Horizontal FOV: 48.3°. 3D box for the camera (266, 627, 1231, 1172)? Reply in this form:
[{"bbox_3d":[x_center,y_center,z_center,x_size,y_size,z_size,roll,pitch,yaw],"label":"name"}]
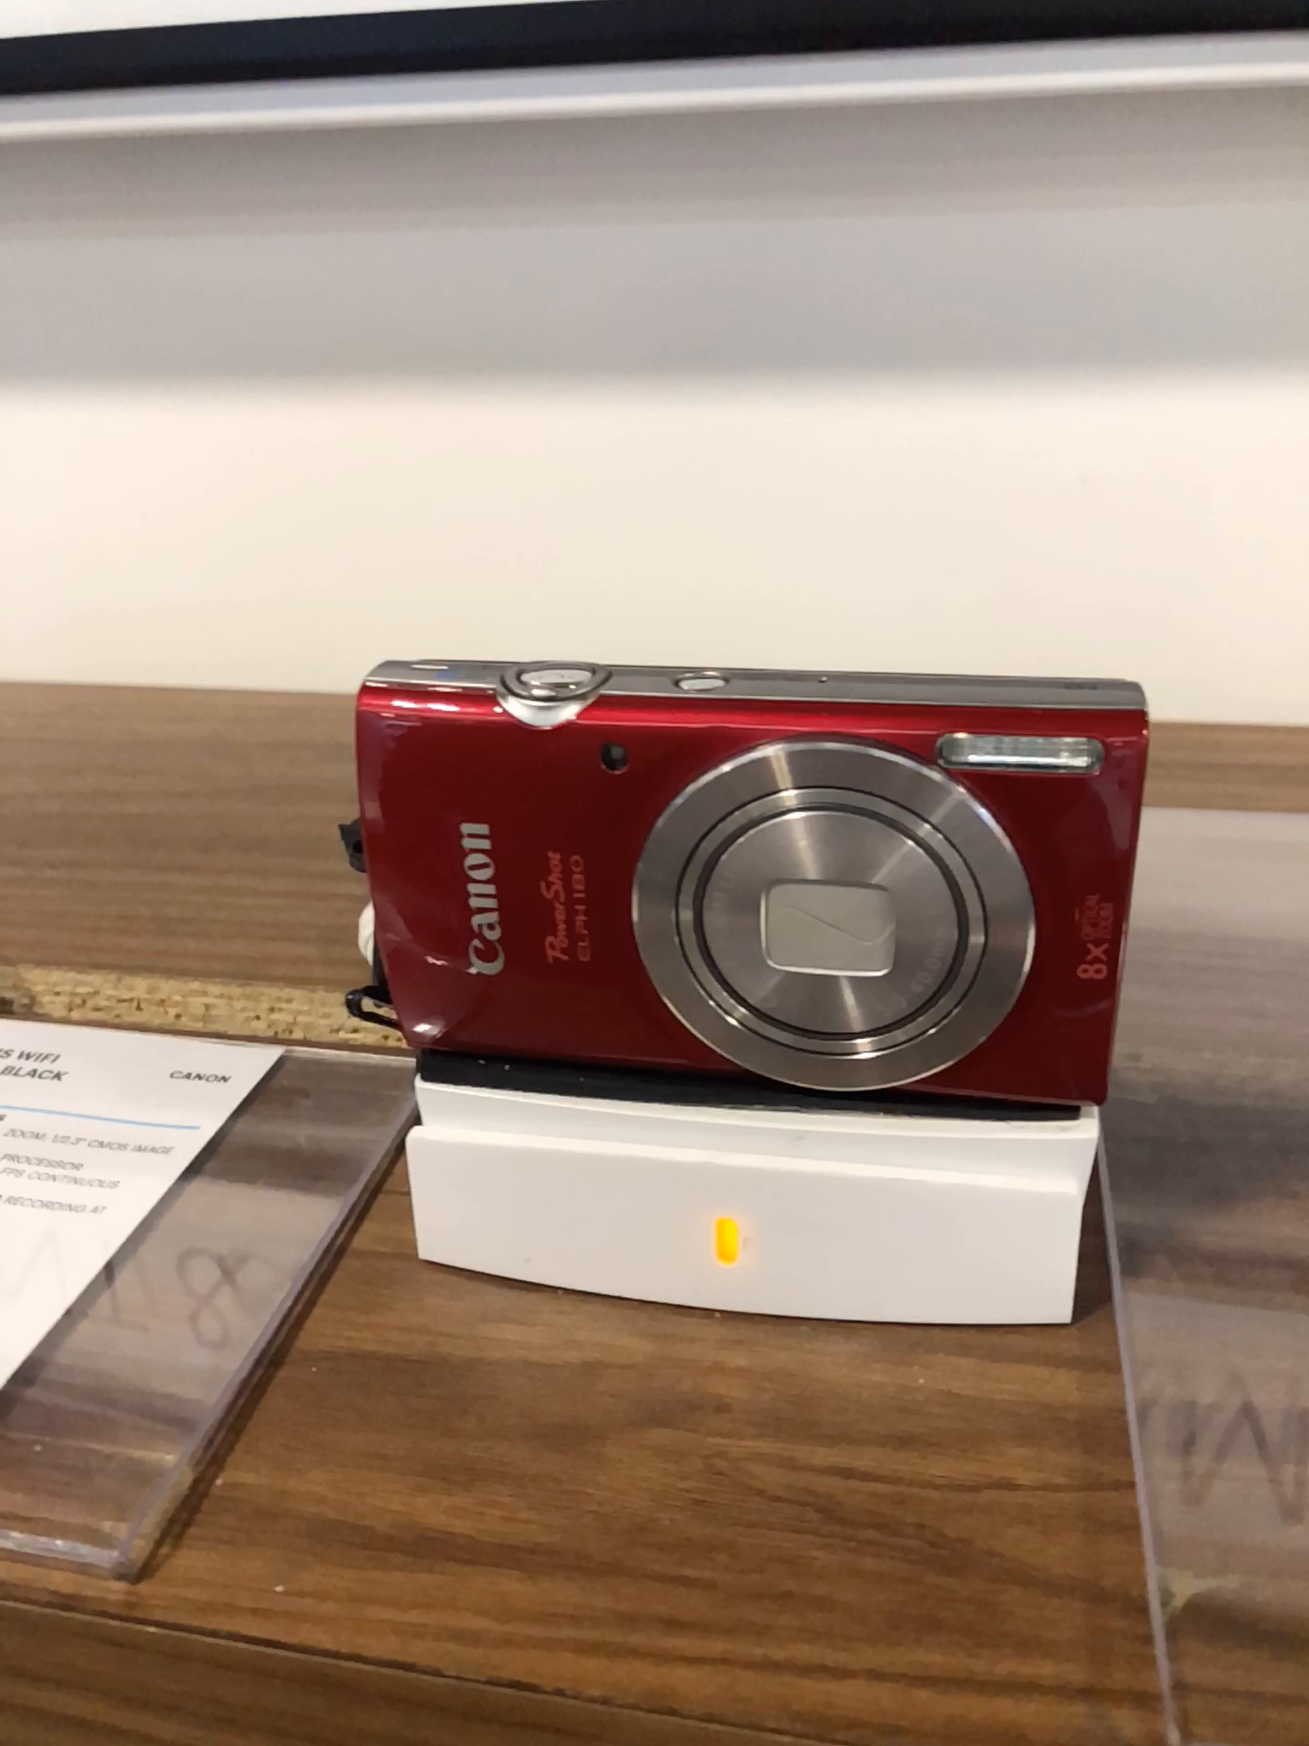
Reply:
[{"bbox_3d":[0.010,0.000,0.173,0.100,0.050,0.030,4,24,12],"label":"camera"}]
